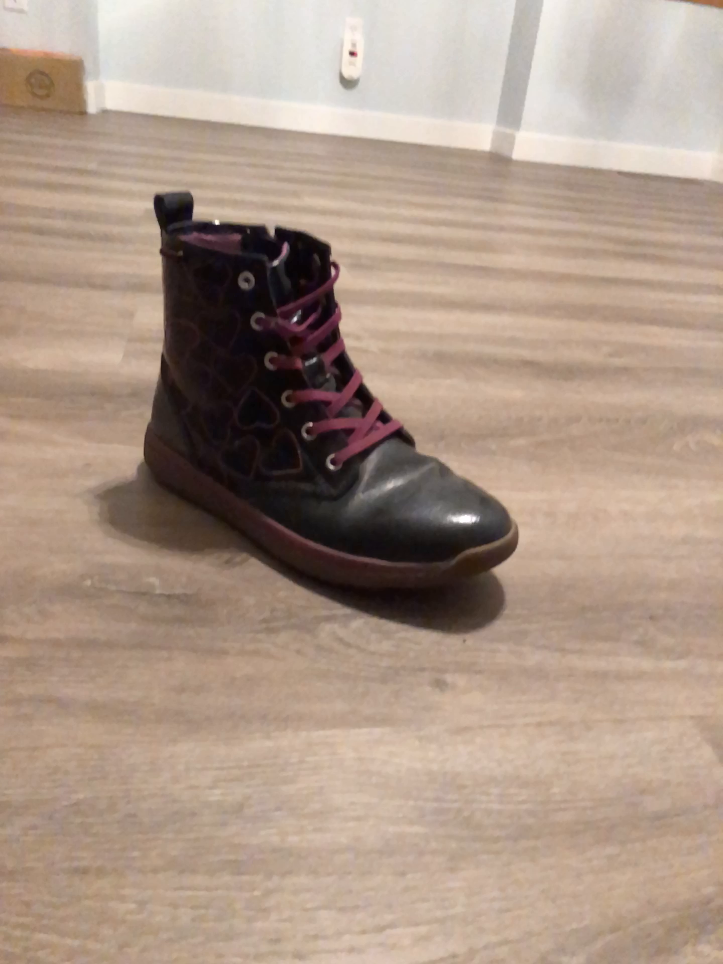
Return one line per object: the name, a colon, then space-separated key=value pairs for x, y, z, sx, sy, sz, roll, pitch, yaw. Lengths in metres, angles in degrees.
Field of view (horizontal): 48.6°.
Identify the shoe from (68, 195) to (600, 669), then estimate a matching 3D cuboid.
shoe: x=-0.027 y=-0.043 z=0.396 sx=0.230 sy=0.149 sz=0.100 roll=23 pitch=30 yaw=29
